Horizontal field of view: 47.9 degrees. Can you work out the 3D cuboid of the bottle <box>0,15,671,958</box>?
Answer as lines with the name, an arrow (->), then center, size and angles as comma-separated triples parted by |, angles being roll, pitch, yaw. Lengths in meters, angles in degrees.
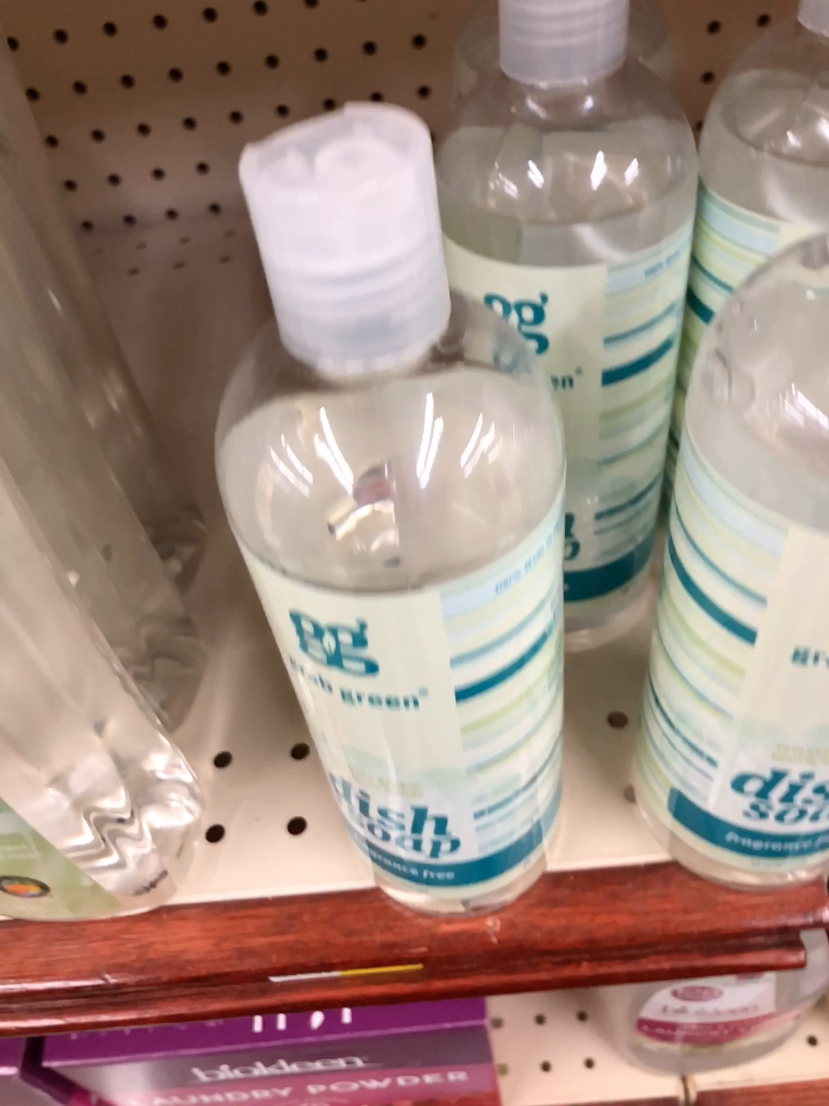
bottle -> 0.001, 0.011, 0.190 | 0.070, 0.200, 0.060 | 10, 53, 16
